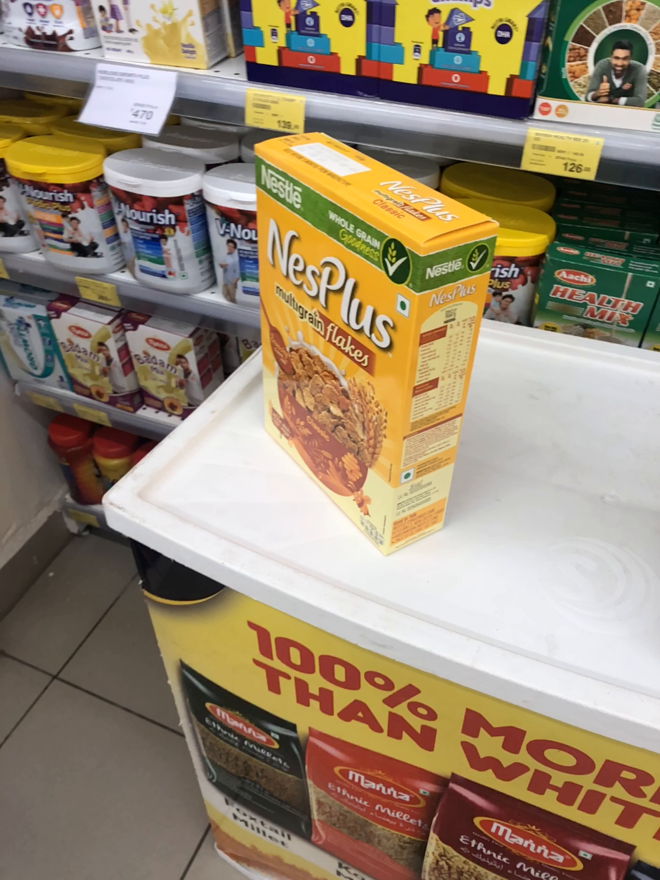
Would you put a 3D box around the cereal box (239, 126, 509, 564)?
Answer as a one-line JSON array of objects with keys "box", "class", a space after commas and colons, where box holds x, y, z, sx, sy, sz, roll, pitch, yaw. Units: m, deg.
[{"box": [0.020, -0.071, 0.567, 0.070, 0.269, 0.201, -24, 46, -26], "class": "cereal box"}]
